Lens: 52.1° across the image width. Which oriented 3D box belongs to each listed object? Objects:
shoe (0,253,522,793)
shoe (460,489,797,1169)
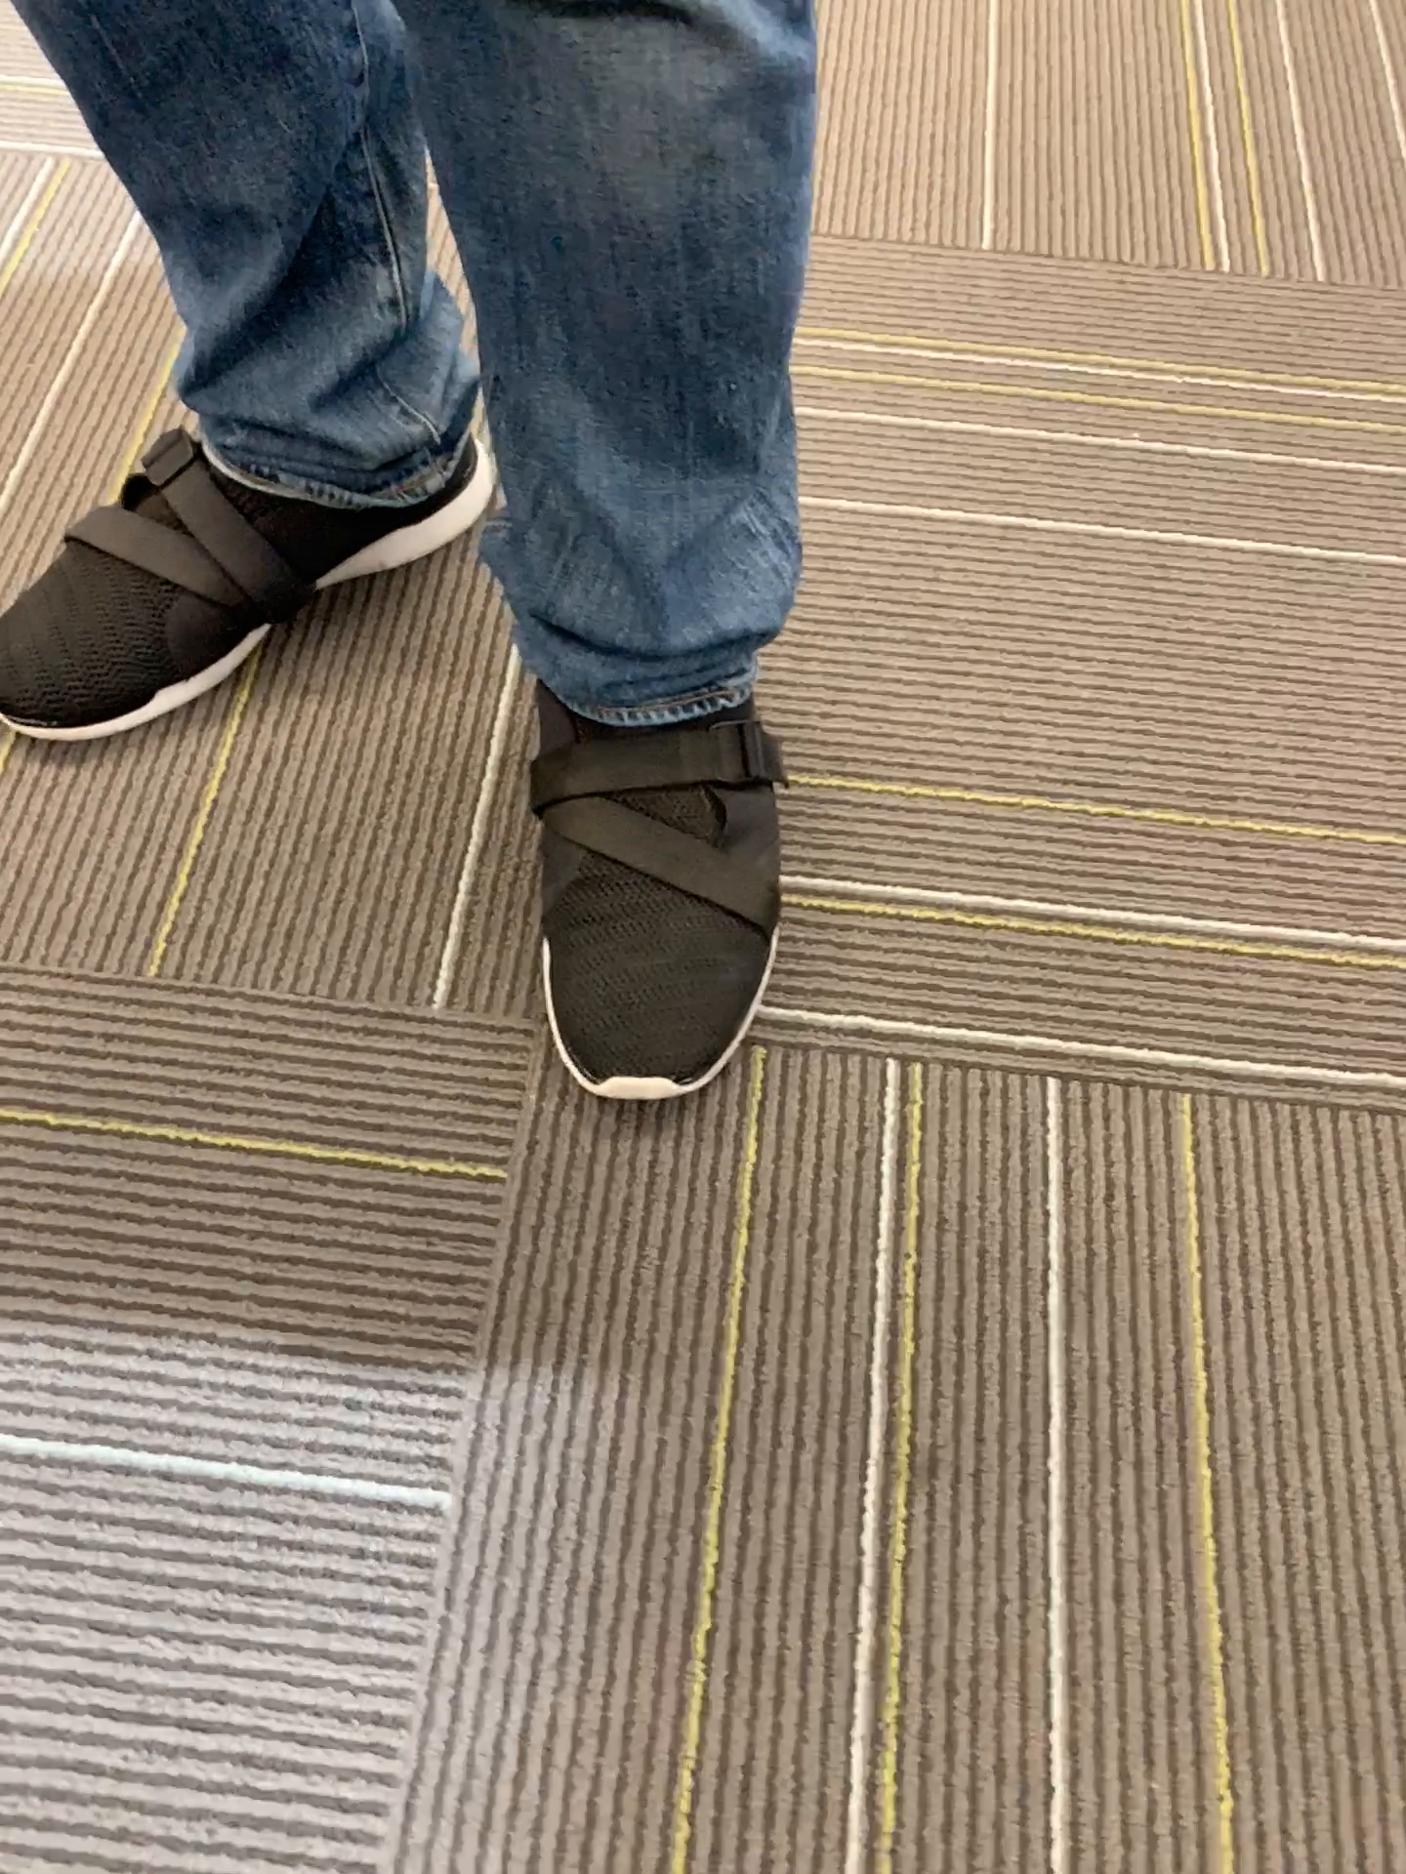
[{"bbox_3d":[-0.257,-0.223,0.757,0.300,0.110,0.120,-35,67,-20],"label":"shoe"},{"bbox_3d":[-0.026,-0.057,0.688,0.120,0.120,0.301,4,60,1],"label":"shoe"}]
